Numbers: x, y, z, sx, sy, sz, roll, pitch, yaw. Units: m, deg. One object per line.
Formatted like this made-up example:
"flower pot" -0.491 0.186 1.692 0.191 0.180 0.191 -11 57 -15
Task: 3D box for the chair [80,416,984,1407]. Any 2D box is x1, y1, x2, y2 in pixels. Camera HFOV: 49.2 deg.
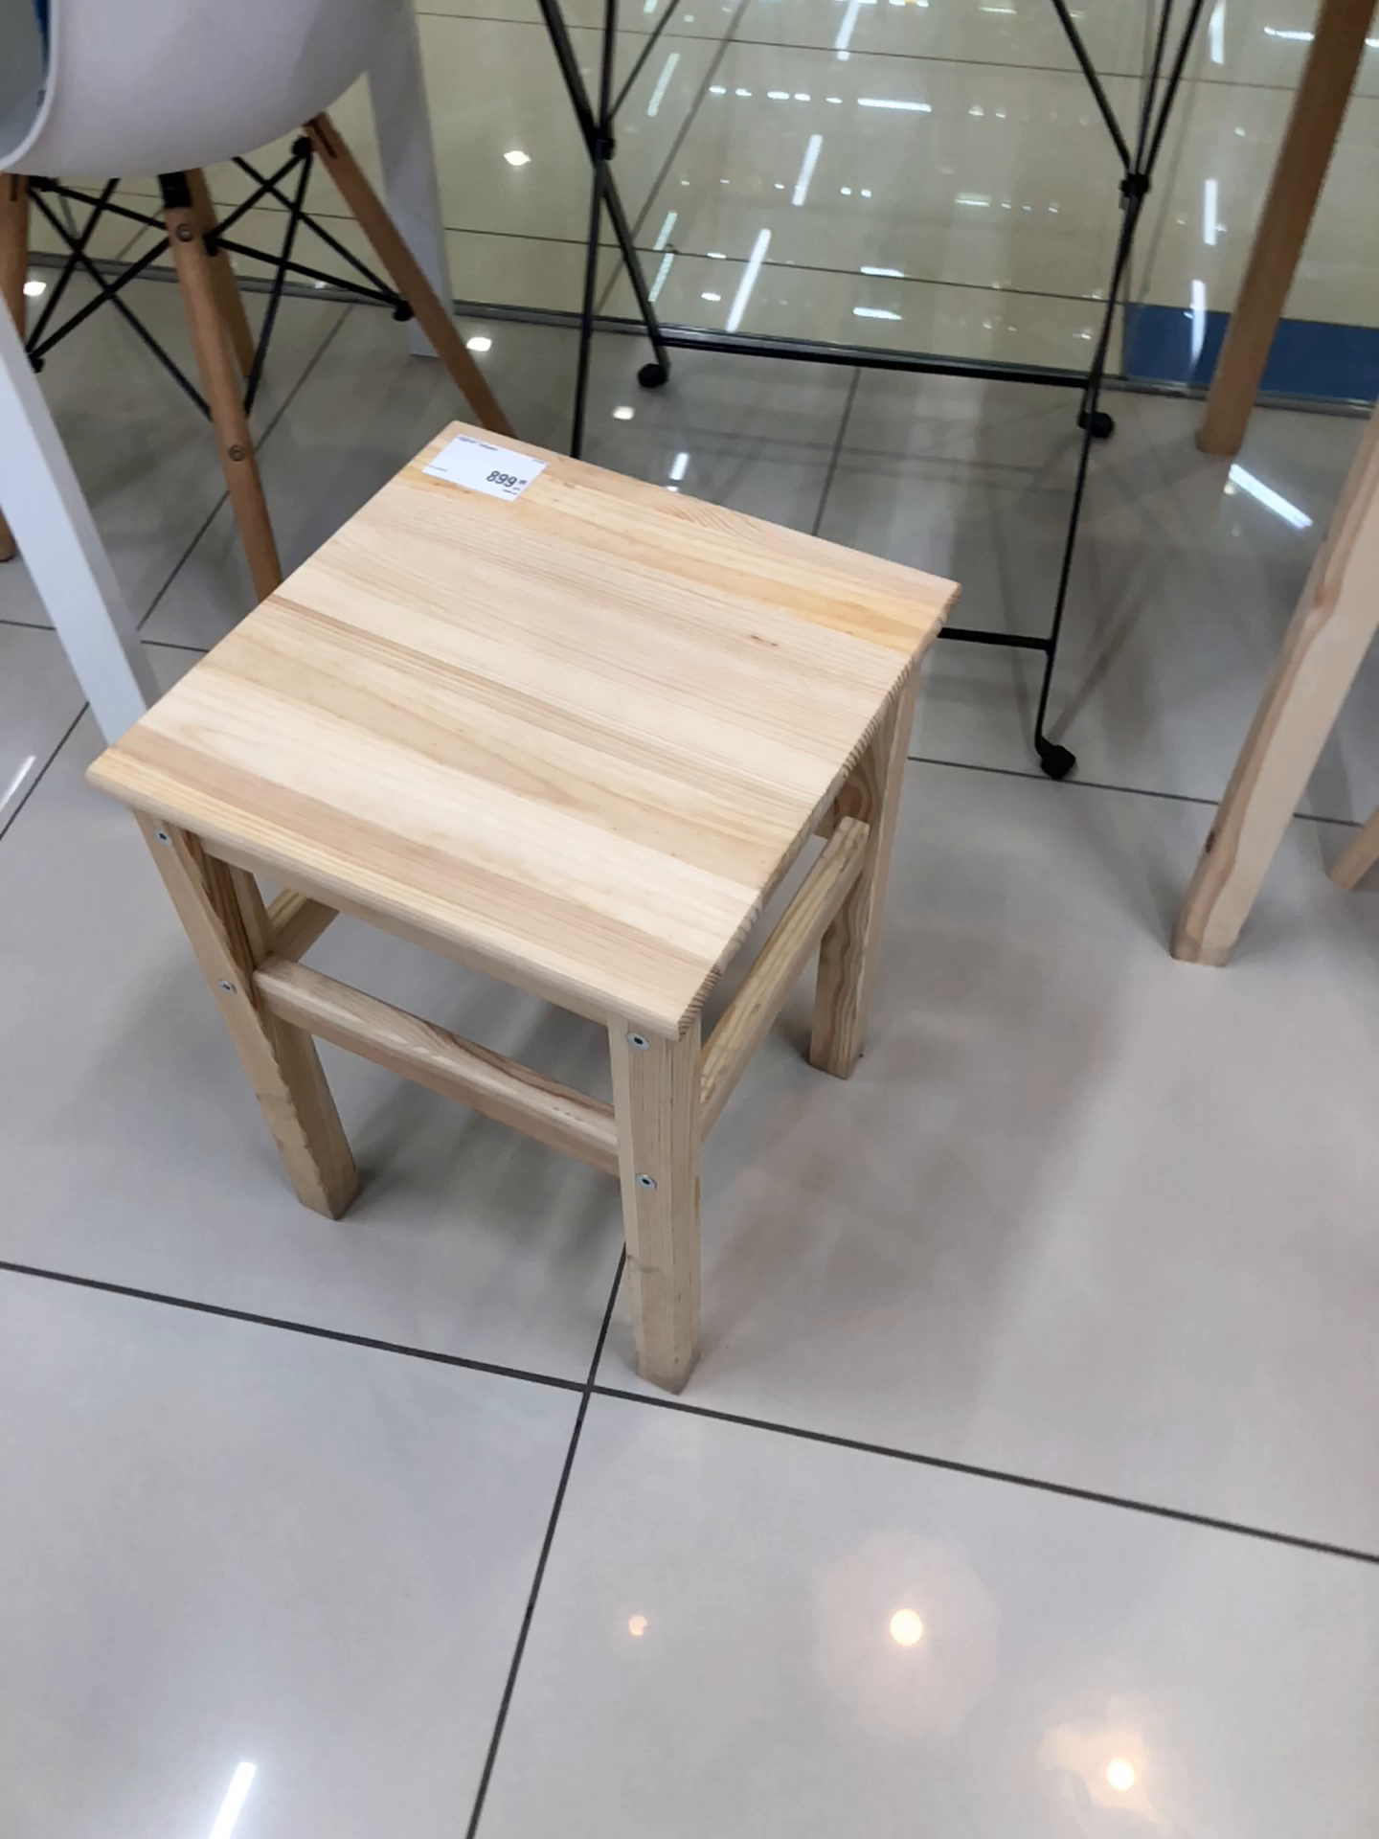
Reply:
"chair" -0.064 0.003 0.905 0.327 0.408 0.322 22 55 17
